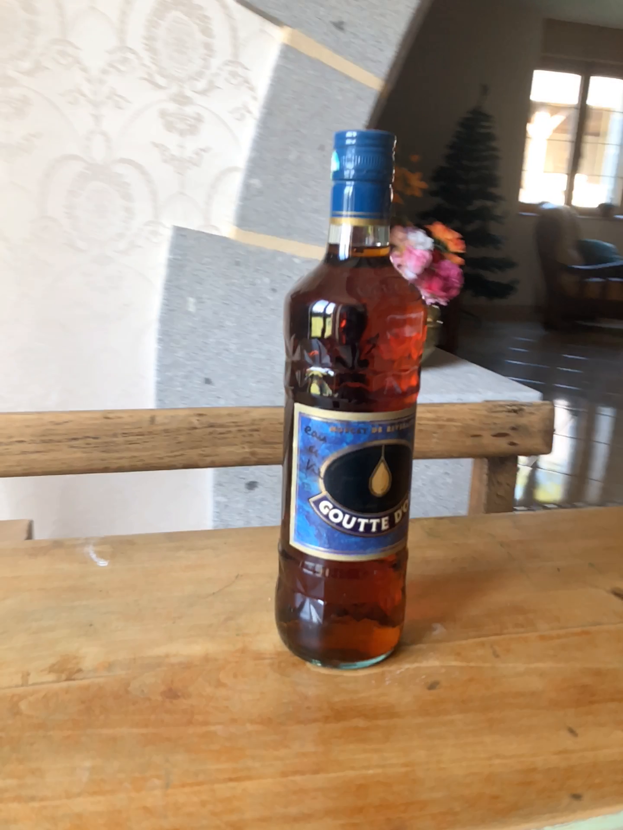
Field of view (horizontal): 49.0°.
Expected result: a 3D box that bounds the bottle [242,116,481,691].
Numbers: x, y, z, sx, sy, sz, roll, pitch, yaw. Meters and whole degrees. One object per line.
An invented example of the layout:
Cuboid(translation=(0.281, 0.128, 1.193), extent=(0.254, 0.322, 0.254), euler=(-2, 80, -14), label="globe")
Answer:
Cuboid(translation=(0.015, -0.005, 0.379), extent=(0.090, 0.279, 0.100), euler=(-1, 15, -14), label="bottle")
